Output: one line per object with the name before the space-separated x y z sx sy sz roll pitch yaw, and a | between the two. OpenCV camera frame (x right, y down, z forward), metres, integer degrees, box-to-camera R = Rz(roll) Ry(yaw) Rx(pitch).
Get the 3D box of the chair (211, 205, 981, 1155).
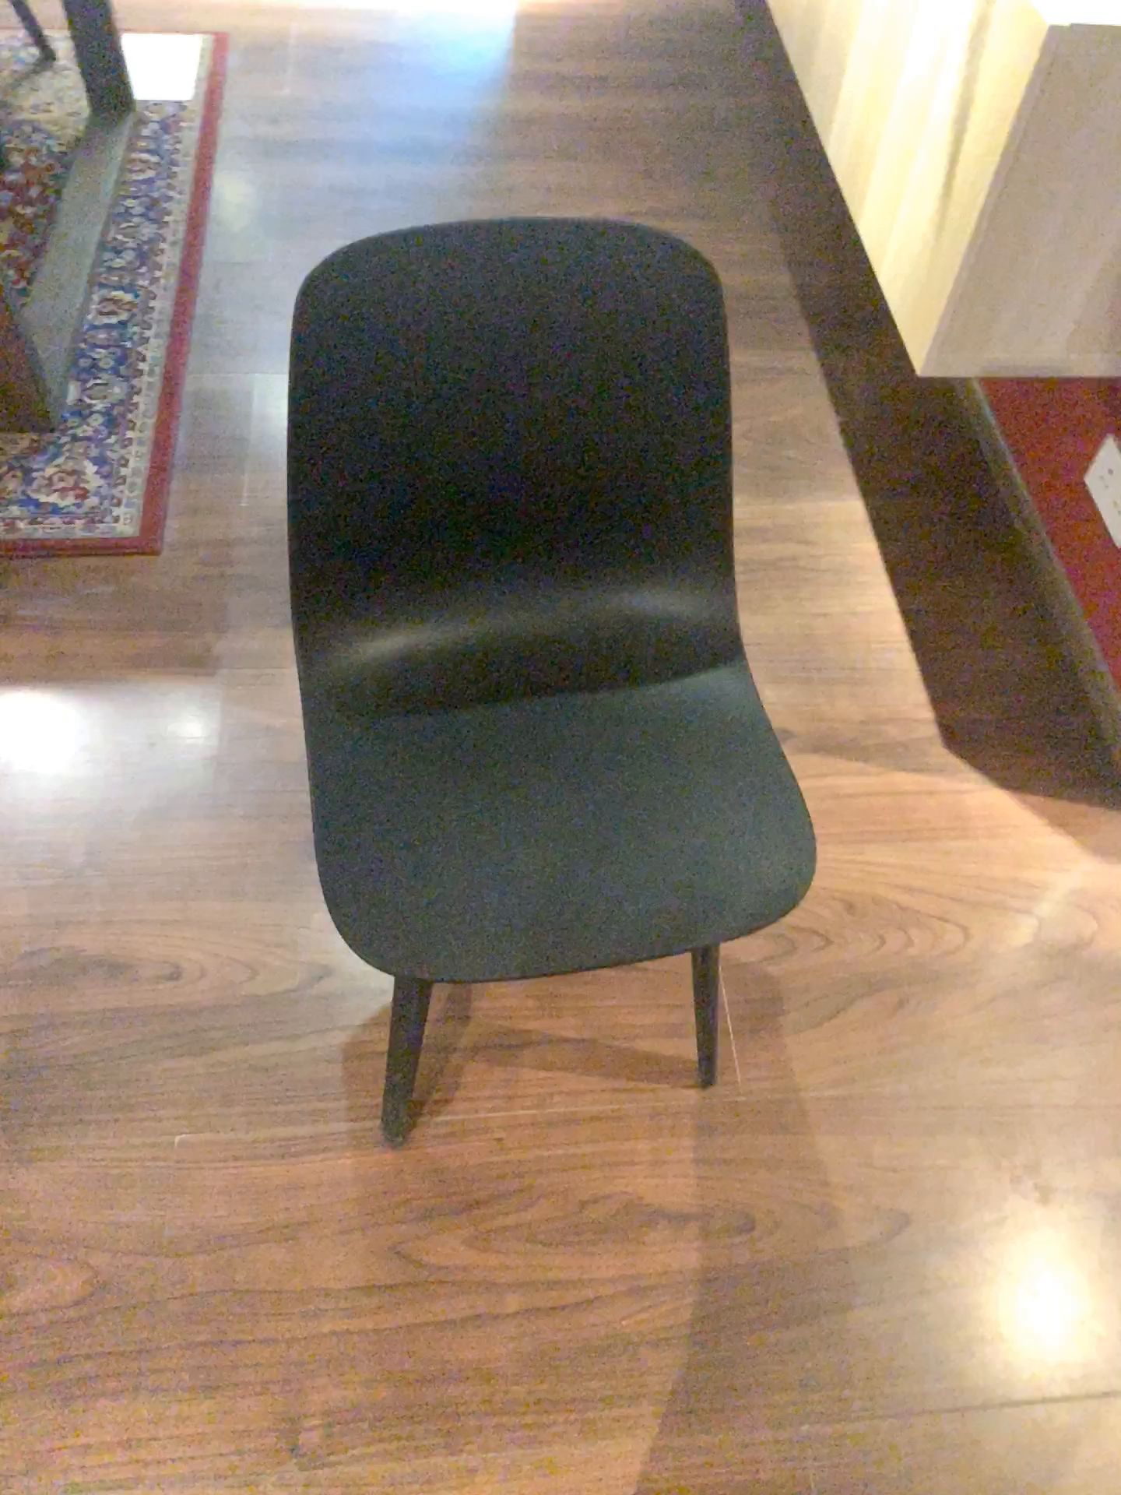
chair | -0.035 -0.019 1.089 0.440 0.718 0.531 -7 56 -9
